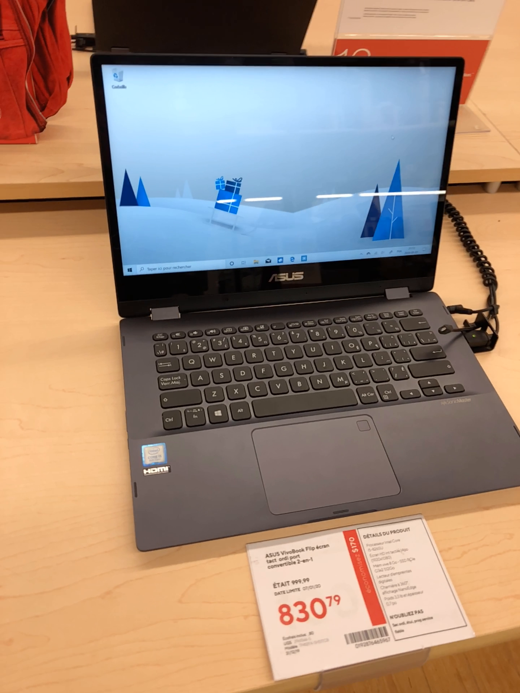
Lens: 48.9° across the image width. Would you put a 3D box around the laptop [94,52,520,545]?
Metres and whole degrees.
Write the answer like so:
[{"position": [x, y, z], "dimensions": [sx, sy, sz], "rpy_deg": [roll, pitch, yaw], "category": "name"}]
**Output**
[{"position": [0.048, -0.060, 0.447], "dimensions": [0.313, 0.188, 0.314], "rpy_deg": [-5, 51, -12], "category": "laptop"}]
